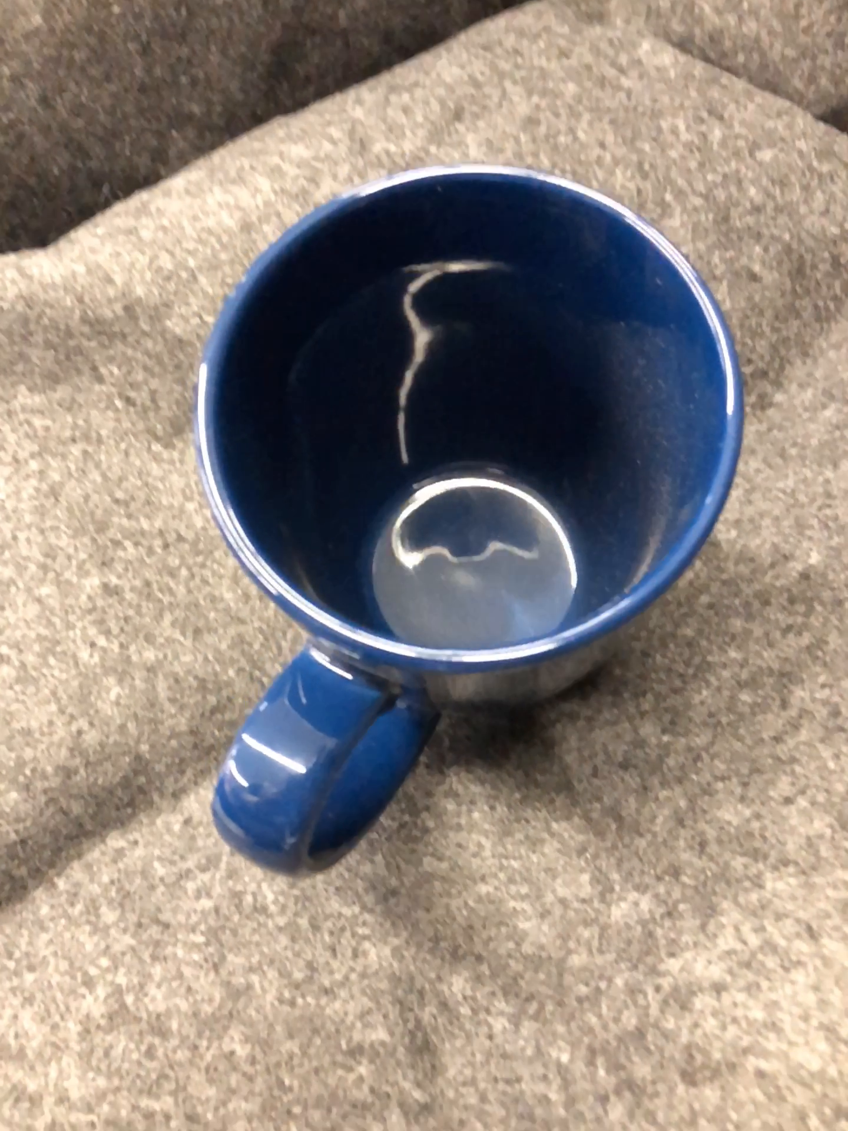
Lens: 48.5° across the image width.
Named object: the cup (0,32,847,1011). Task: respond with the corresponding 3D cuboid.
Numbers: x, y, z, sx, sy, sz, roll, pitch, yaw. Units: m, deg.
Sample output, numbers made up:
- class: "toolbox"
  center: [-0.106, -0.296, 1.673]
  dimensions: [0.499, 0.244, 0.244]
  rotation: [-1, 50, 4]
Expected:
- class: "cup"
  center: [-0.002, -0.002, 0.191]
  dimensions: [0.090, 0.110, 0.130]
  rotation: [32, 75, 15]
